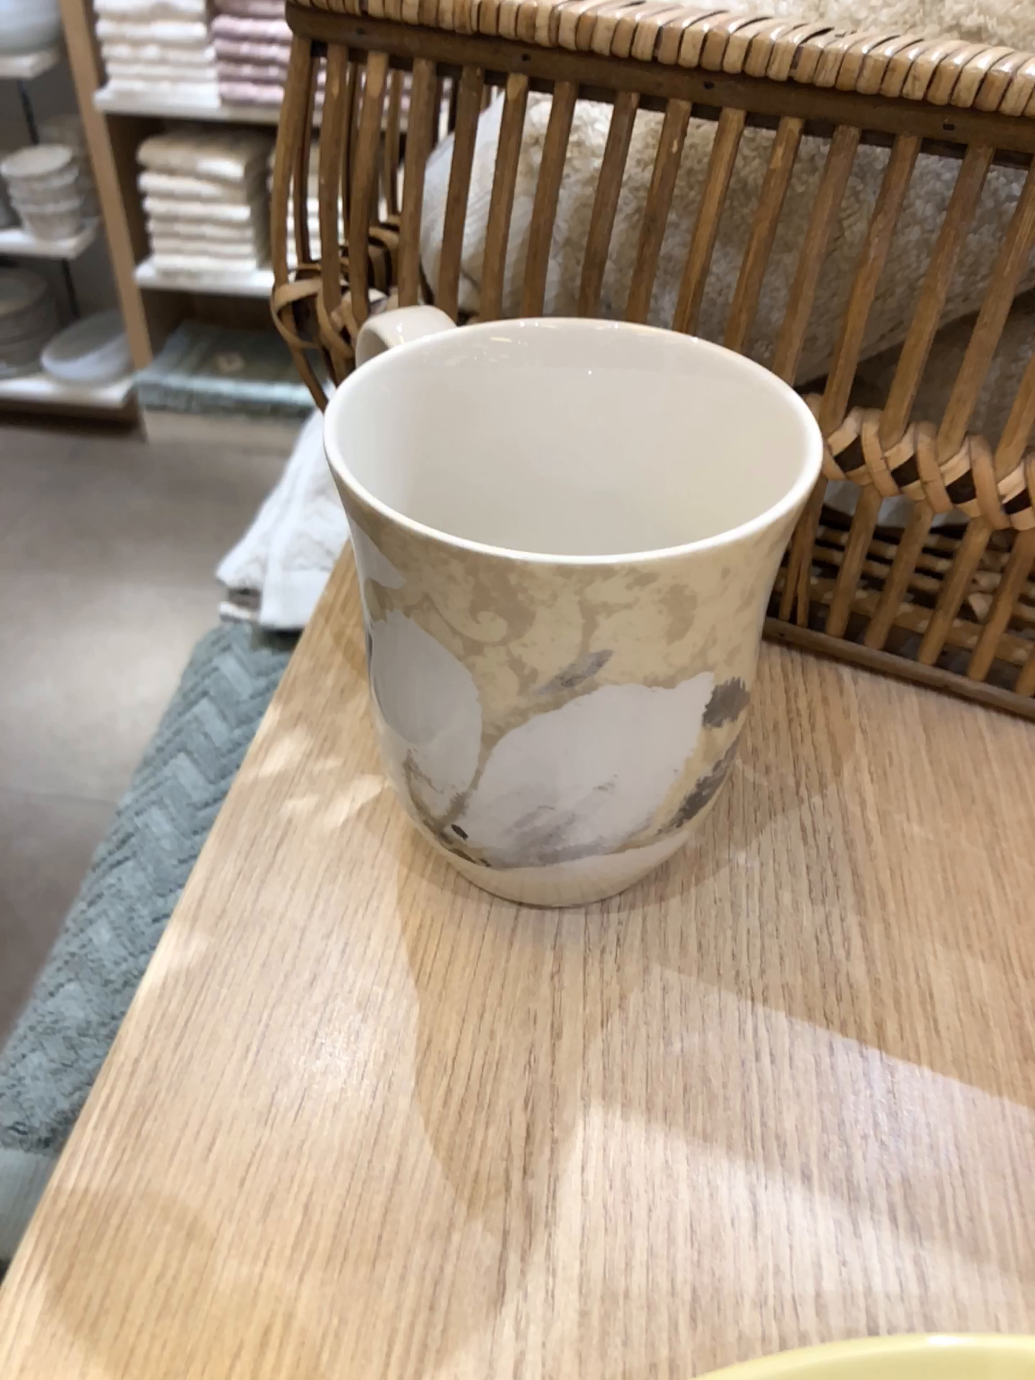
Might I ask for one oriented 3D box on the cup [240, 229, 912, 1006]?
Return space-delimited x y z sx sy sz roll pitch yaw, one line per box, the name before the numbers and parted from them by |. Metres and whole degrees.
cup | 0.000 -0.025 0.254 0.090 0.099 0.131 -11 42 -14
